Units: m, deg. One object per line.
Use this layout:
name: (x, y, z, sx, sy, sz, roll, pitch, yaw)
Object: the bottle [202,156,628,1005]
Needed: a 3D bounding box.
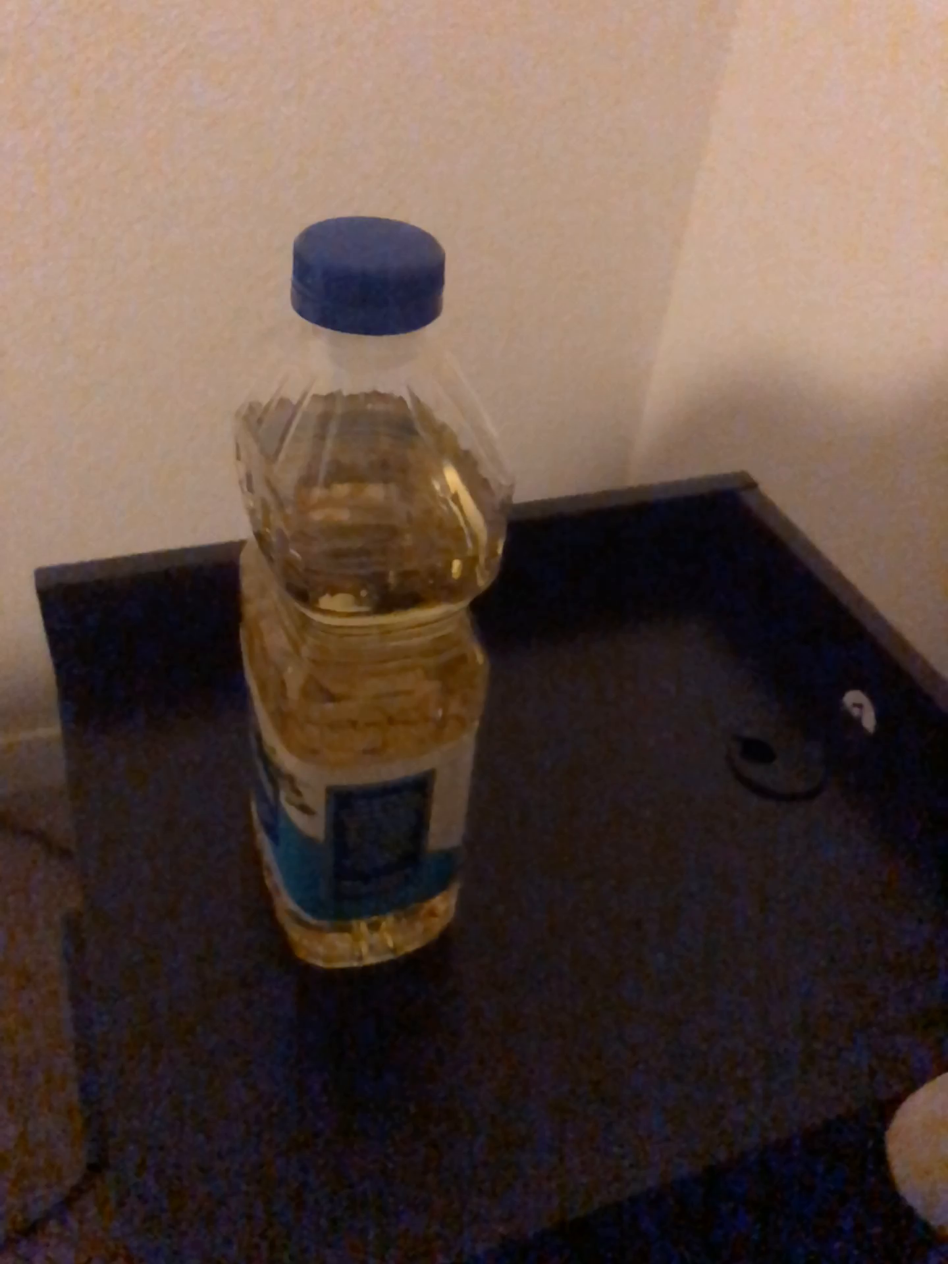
bottle: (-0.034, -0.004, 0.368, 0.083, 0.275, 0.110, -9, 43, -19)
